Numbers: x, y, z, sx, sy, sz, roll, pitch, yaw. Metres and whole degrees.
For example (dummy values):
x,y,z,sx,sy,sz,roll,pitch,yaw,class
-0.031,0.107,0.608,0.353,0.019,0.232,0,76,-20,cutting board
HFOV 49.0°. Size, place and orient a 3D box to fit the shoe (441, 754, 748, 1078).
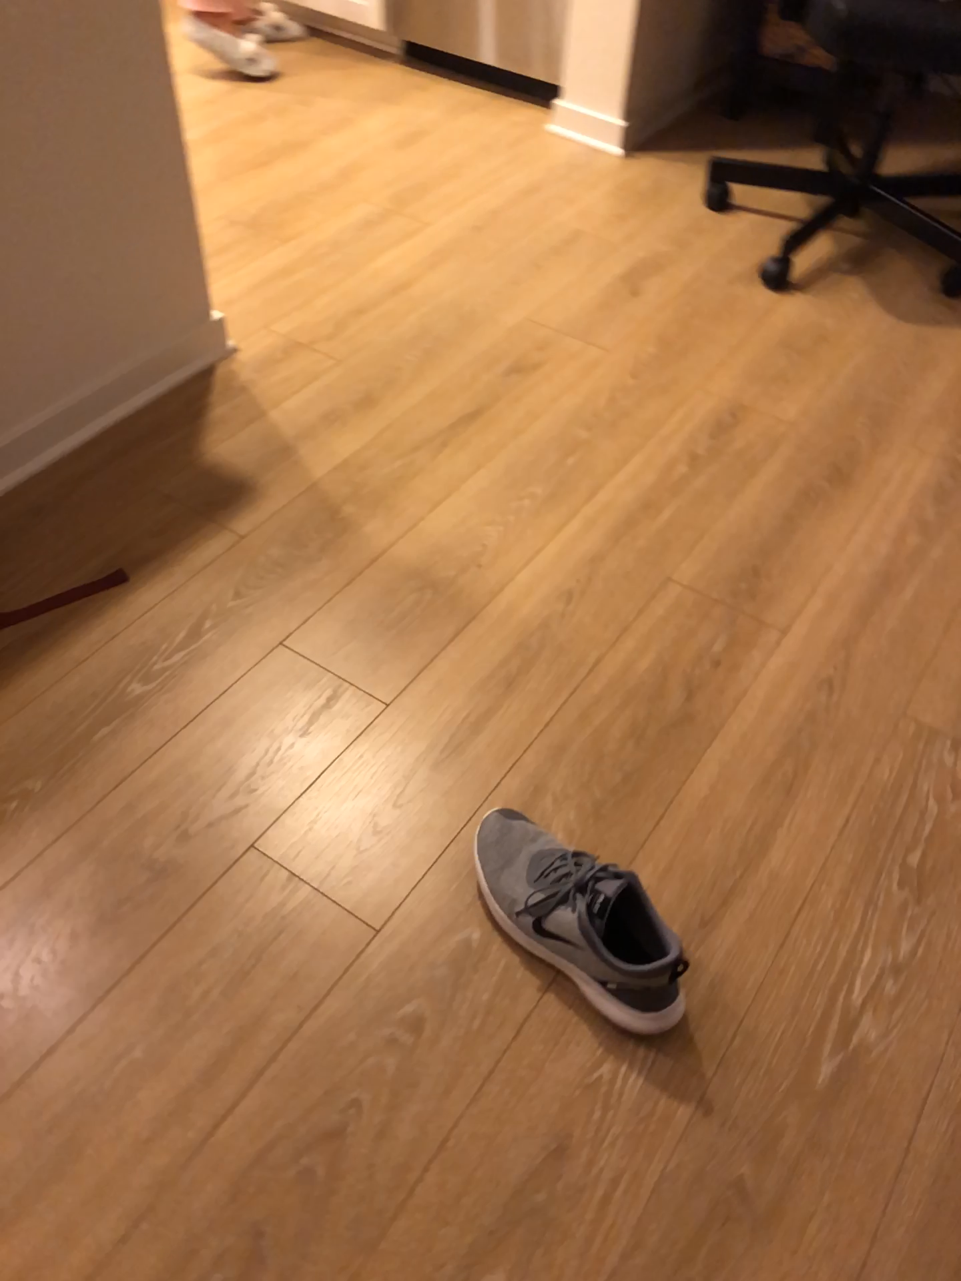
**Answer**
x,y,z,sx,sy,sz,roll,pitch,yaw,class
0.107,0.275,1.099,0.140,0.090,0.301,-30,56,-27,shoe
